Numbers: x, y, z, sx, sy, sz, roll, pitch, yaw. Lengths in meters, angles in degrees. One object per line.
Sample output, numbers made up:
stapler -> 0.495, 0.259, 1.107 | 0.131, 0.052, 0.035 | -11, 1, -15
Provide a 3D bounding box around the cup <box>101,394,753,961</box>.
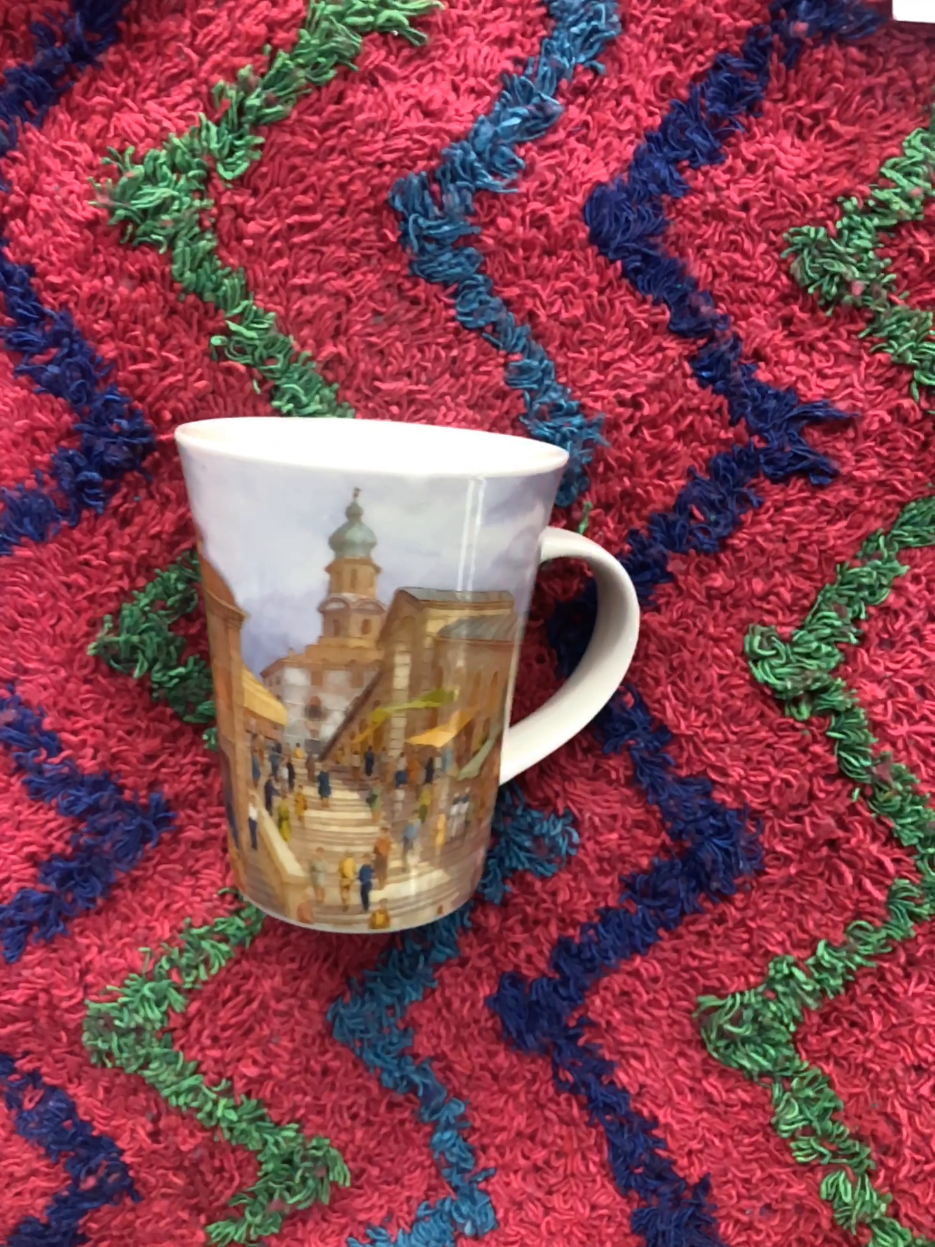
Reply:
cup -> -0.015, 0.001, 0.234 | 0.110, 0.090, 0.090 | -3, 106, -31
